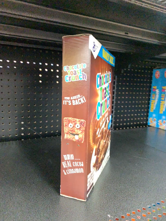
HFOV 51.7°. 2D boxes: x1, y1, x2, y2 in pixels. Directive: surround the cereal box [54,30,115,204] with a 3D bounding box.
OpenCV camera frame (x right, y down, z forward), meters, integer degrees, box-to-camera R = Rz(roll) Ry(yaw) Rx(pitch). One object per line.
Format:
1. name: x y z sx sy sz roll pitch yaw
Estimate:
1. cereal box: 0.017 0.004 0.432 0.070 0.319 0.240 5 9 18
